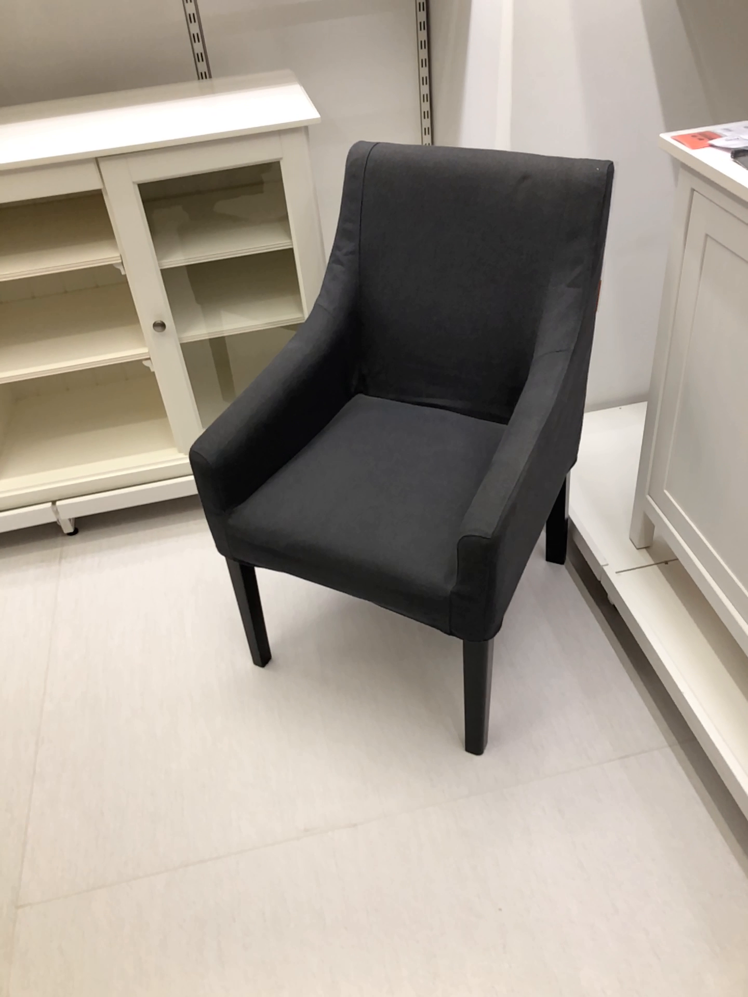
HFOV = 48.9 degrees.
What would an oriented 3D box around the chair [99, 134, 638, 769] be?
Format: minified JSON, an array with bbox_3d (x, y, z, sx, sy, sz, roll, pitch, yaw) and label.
[{"bbox_3d":[0.050,-0.113,1.548,0.611,0.884,0.623,16,43,26],"label":"chair"}]
